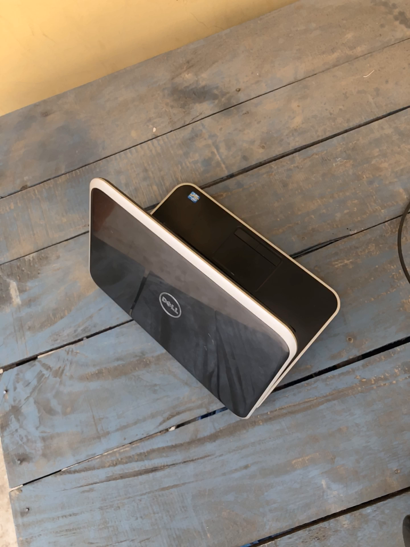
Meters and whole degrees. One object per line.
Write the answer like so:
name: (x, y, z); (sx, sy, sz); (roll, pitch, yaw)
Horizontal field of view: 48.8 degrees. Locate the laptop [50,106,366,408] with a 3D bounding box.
laptop: (0.002, -0.014, 0.661); (0.347, 0.207, 0.215); (41, 83, 19)
